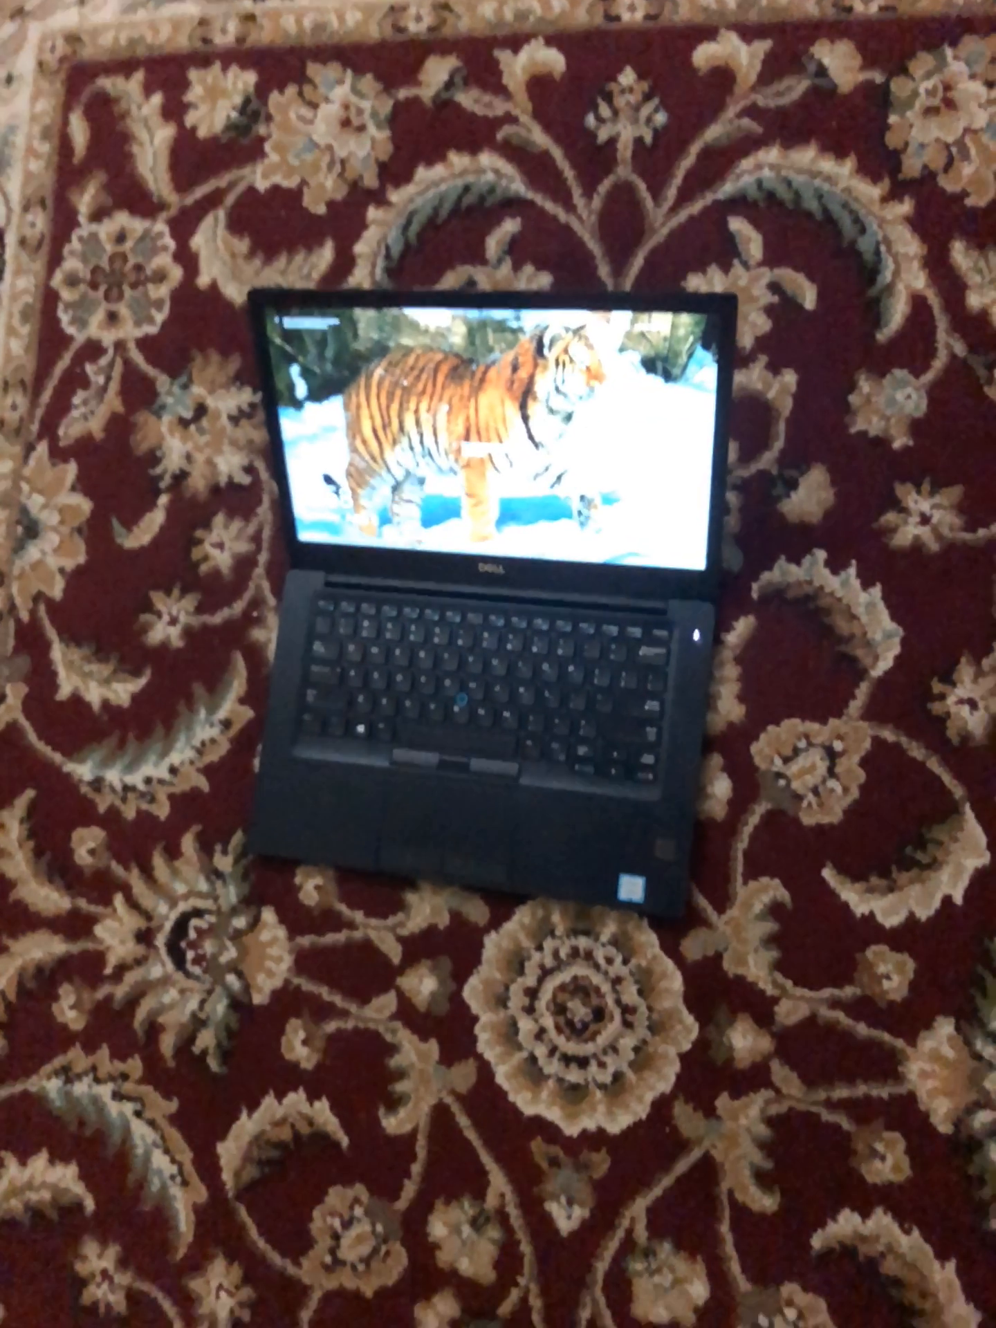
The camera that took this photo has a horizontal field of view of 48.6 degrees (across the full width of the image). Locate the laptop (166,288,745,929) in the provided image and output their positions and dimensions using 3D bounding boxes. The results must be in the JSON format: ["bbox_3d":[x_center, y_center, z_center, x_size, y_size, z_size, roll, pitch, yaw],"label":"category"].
[{"bbox_3d":[-0.020,-0.044,0.751,0.329,0.124,0.383,5,84,15],"label":"laptop"}]
